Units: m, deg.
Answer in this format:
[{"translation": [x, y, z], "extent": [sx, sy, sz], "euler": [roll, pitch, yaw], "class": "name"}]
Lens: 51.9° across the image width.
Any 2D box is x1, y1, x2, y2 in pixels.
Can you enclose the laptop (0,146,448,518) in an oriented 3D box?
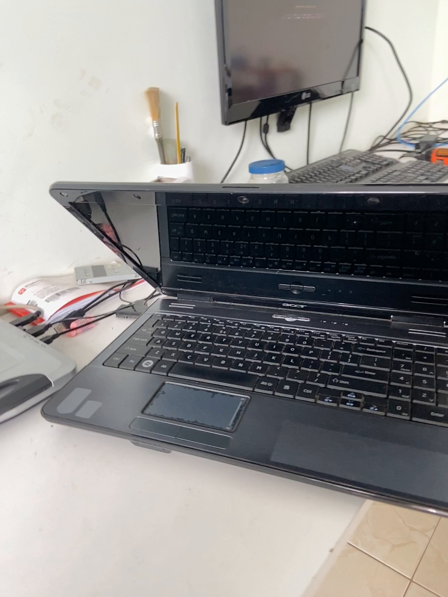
[{"translation": [0.035, -0.014, 0.410], "extent": [0.366, 0.183, 0.234], "euler": [6, 29, 22], "class": "laptop"}]
